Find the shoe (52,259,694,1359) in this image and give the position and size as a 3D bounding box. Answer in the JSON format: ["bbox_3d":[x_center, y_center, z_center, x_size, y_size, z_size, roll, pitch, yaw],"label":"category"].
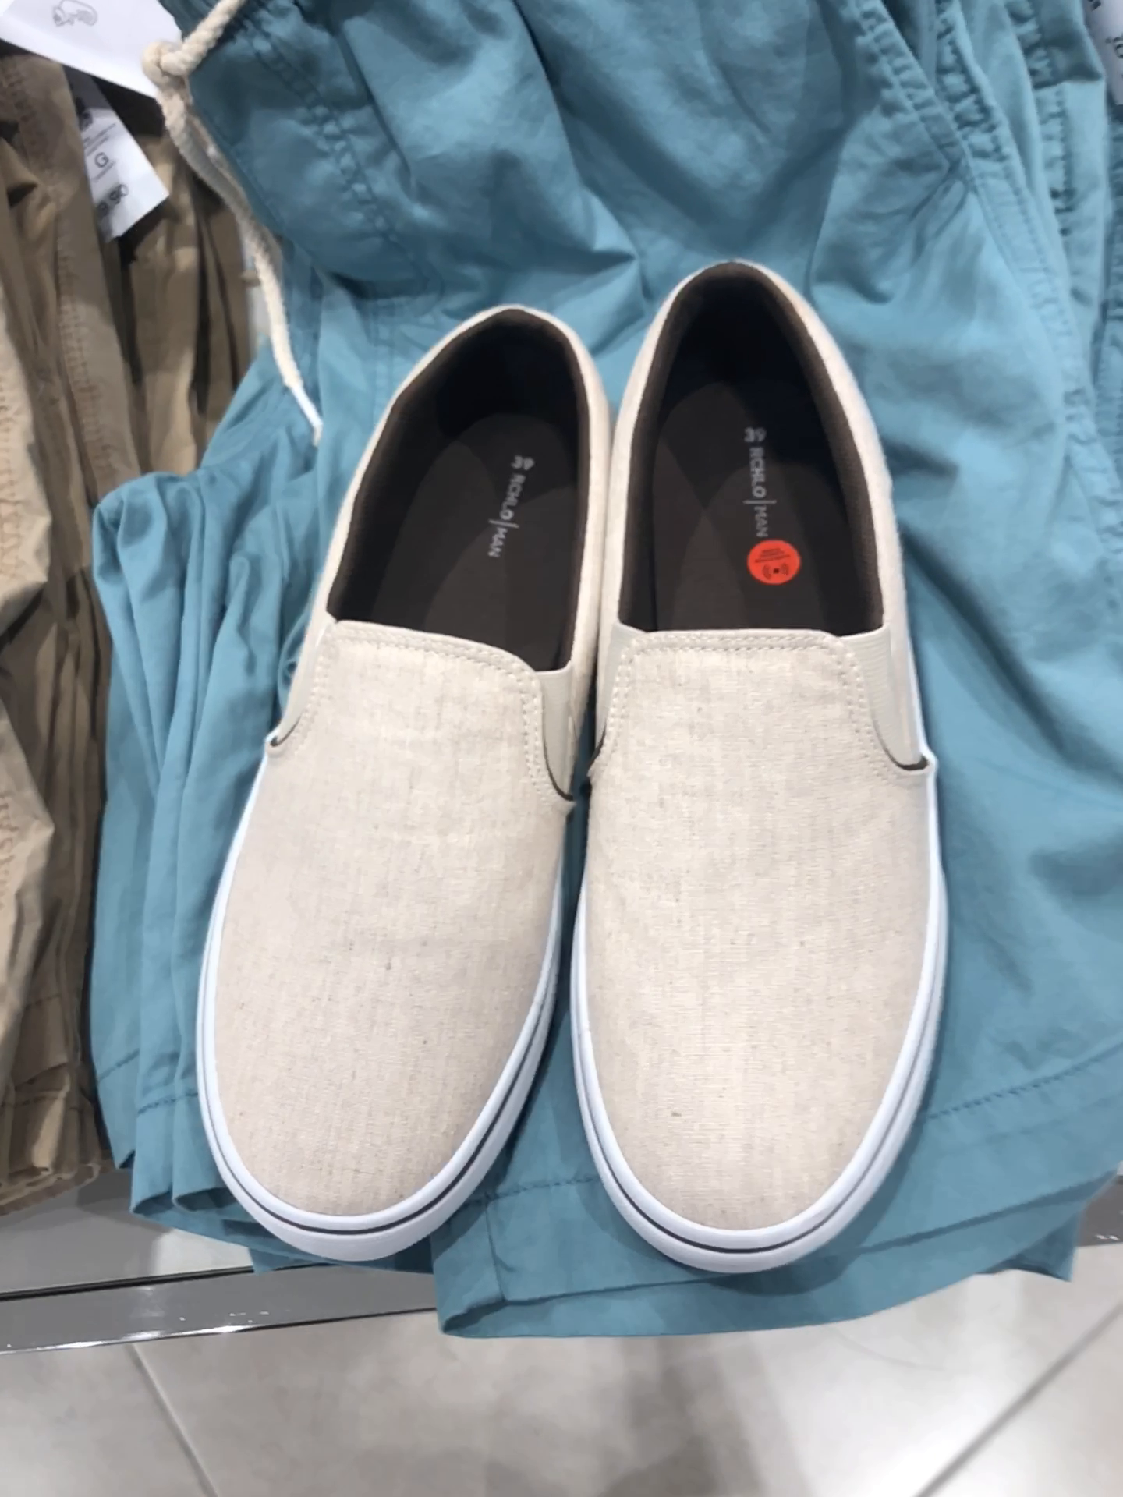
[{"bbox_3d":[-0.036,0.008,0.345,0.100,0.090,0.260,8,76,12],"label":"shoe"}]

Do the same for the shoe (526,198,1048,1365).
[{"bbox_3d":[0.054,0.002,0.321,0.100,0.090,0.261,0,74,9],"label":"shoe"}]
